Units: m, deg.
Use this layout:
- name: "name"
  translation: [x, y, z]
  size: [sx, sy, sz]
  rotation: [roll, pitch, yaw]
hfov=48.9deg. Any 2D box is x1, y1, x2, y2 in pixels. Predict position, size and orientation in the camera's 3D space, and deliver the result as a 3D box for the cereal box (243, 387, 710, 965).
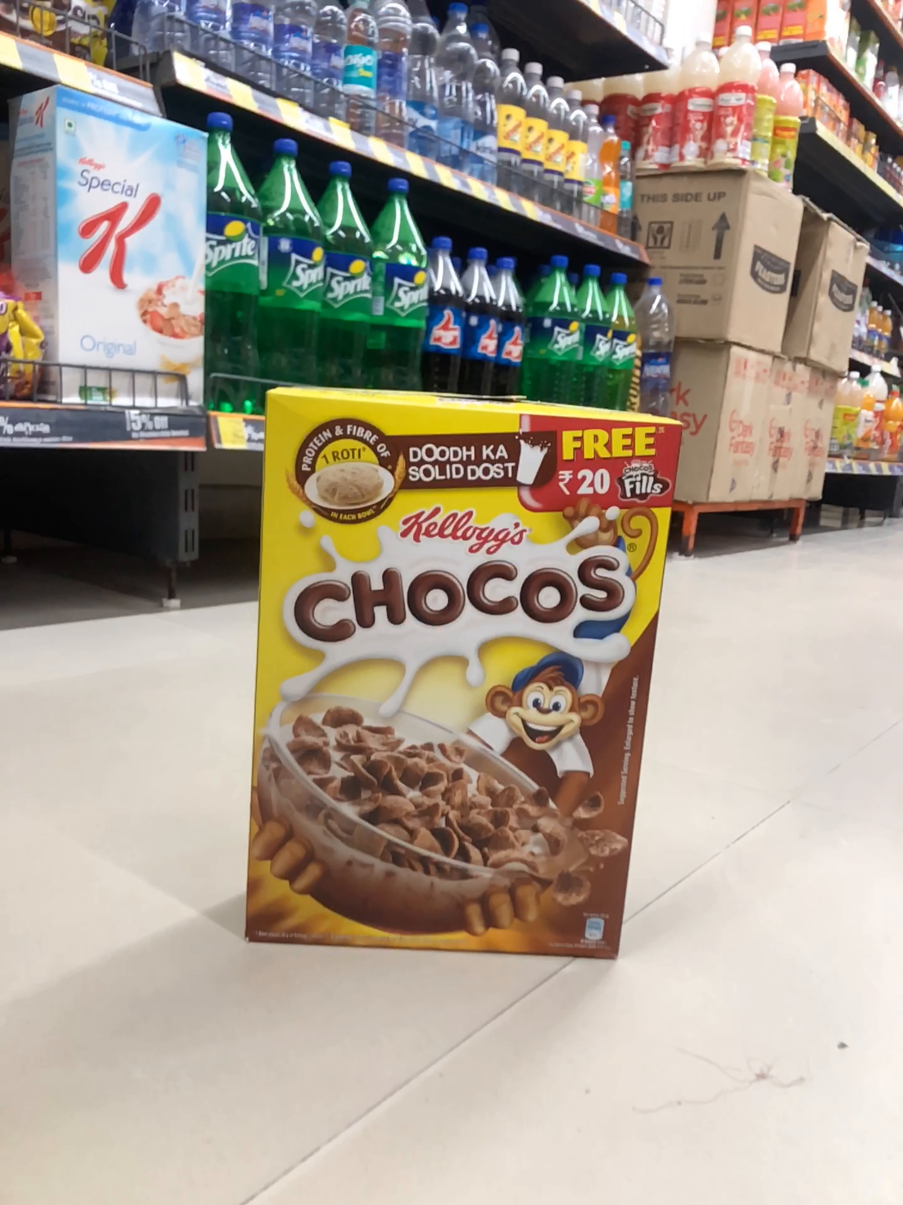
- name: "cereal box"
  translation: [0.005, 0.036, 0.485]
  size: [0.190, 0.259, 0.070]
  rotation: [4, 13, -4]
